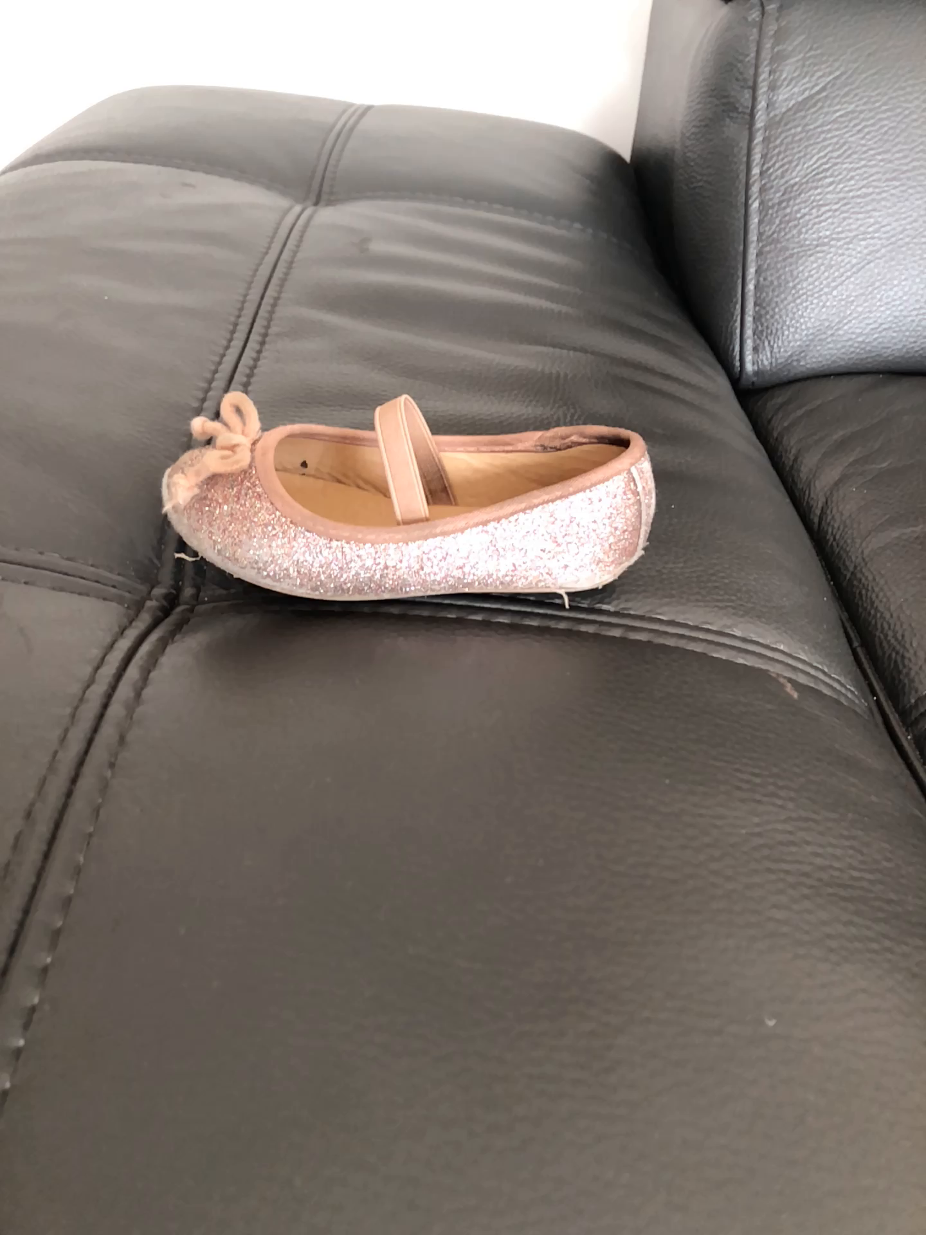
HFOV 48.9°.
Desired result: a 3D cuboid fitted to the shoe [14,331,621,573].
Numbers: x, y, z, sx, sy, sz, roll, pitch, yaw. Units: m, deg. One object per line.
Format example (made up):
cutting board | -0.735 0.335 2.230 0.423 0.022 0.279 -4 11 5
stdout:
shoe | -0.041 -0.052 0.310 0.160 0.040 0.070 -1 41 -7
